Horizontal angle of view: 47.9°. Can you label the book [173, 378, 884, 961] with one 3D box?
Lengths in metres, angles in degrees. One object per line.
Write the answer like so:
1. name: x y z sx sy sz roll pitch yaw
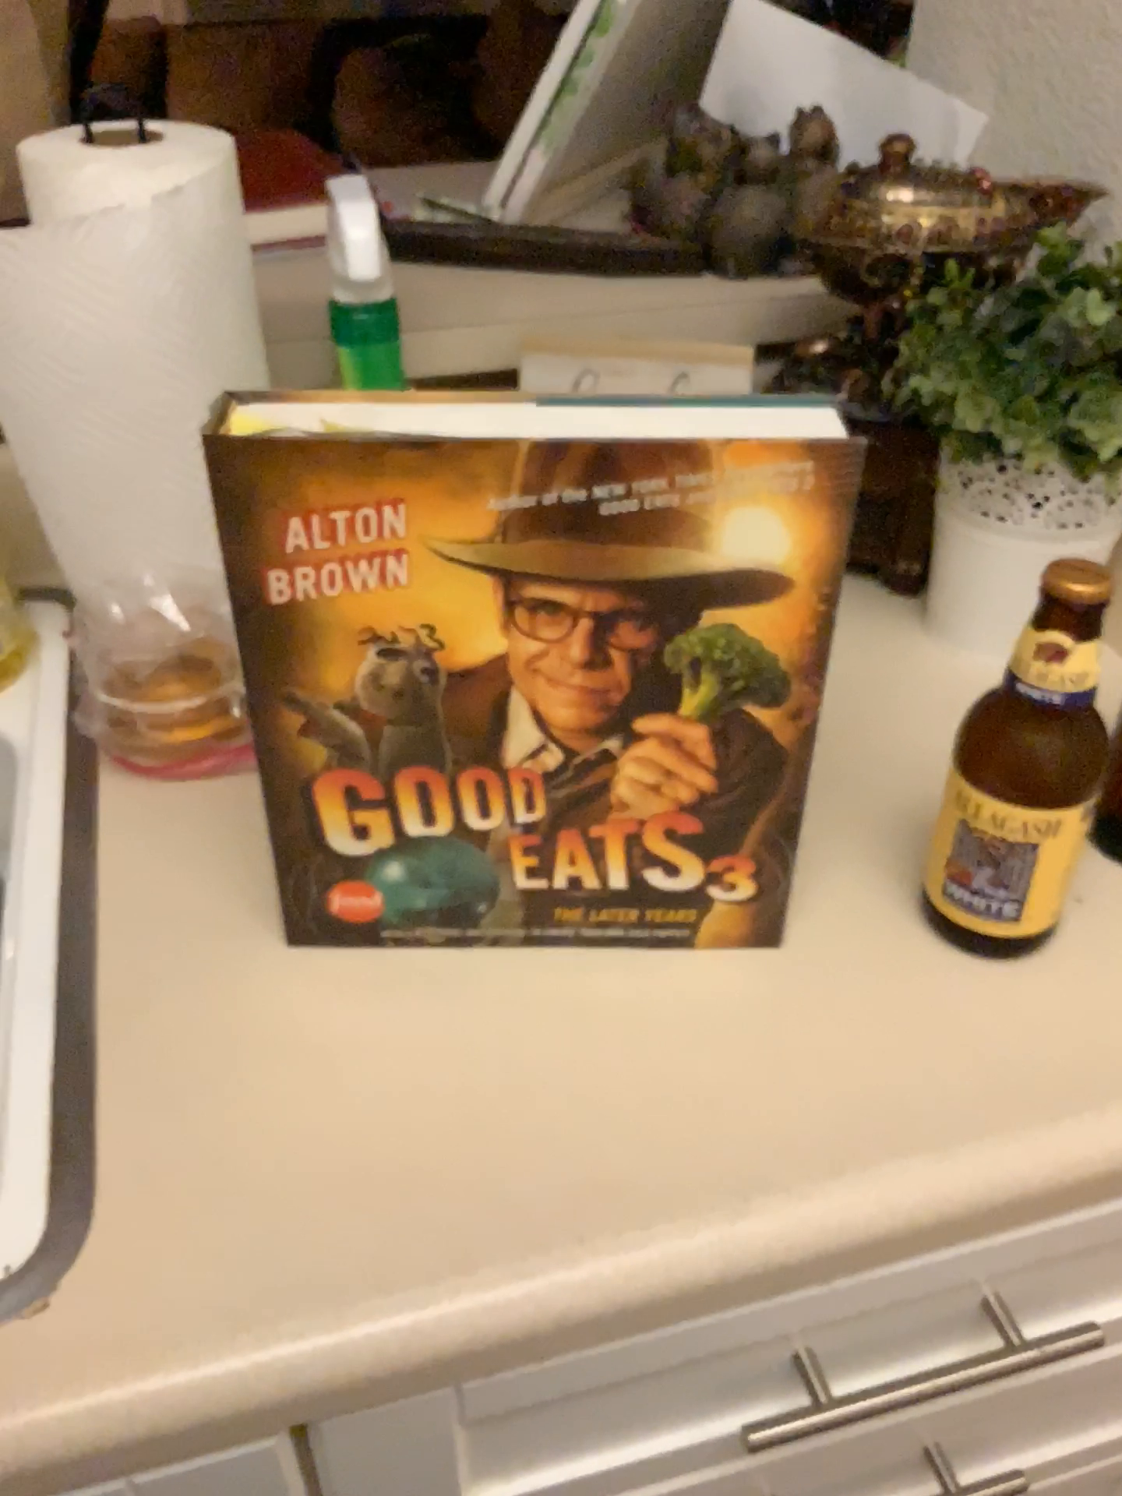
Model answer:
1. book: -0.011 -0.020 0.520 0.240 0.250 0.050 0 36 -1
